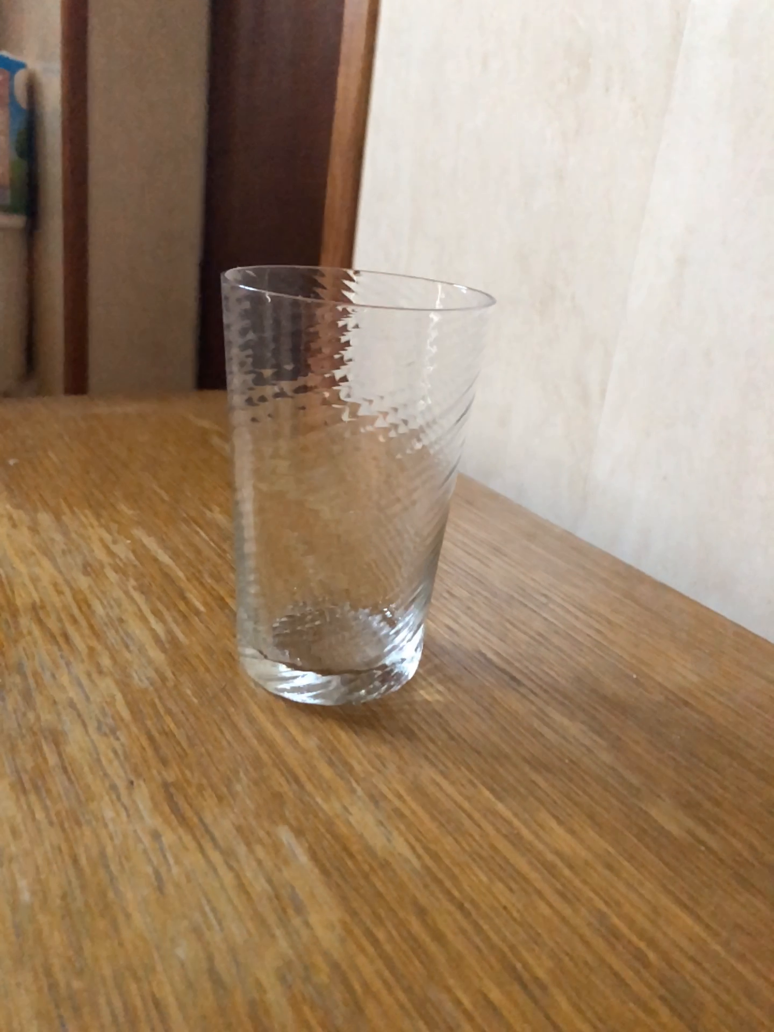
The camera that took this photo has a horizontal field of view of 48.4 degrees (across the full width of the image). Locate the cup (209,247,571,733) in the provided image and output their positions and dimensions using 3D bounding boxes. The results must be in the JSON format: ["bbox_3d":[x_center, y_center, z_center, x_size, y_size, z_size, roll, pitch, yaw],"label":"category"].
[{"bbox_3d":[-0.008,-0.009,0.252,0.080,0.119,0.070,2,21,-13],"label":"cup"}]
